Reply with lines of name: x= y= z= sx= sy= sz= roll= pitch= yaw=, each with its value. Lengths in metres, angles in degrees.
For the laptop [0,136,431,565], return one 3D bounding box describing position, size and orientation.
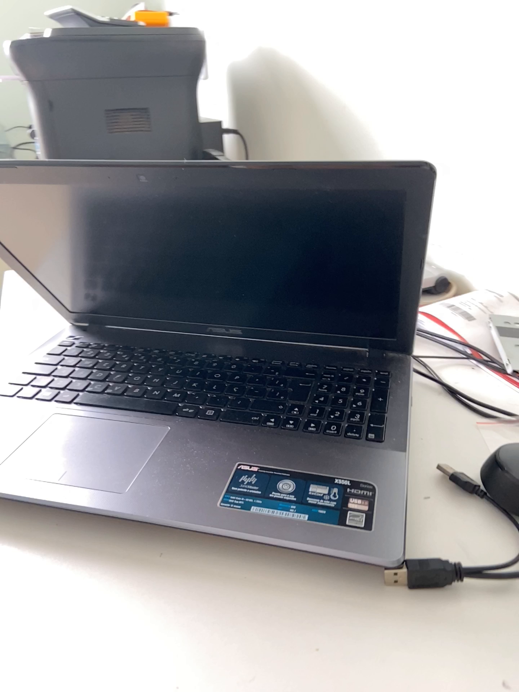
laptop: x=-0.072 y=-0.037 z=0.399 sx=0.364 sy=0.190 sz=0.246 roll=5 pitch=28 yaw=15
